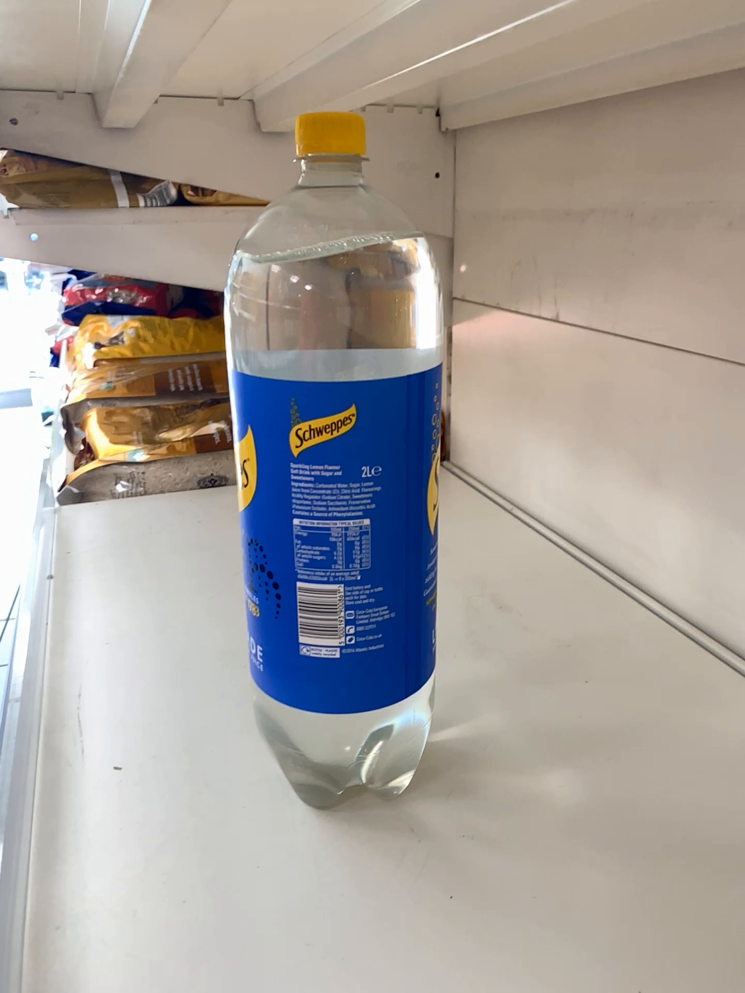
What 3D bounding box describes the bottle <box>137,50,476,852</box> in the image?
[{"bbox_3d":[-0.015,-0.011,0.361,0.110,0.327,0.111,-1,20,0],"label":"bottle"}]
